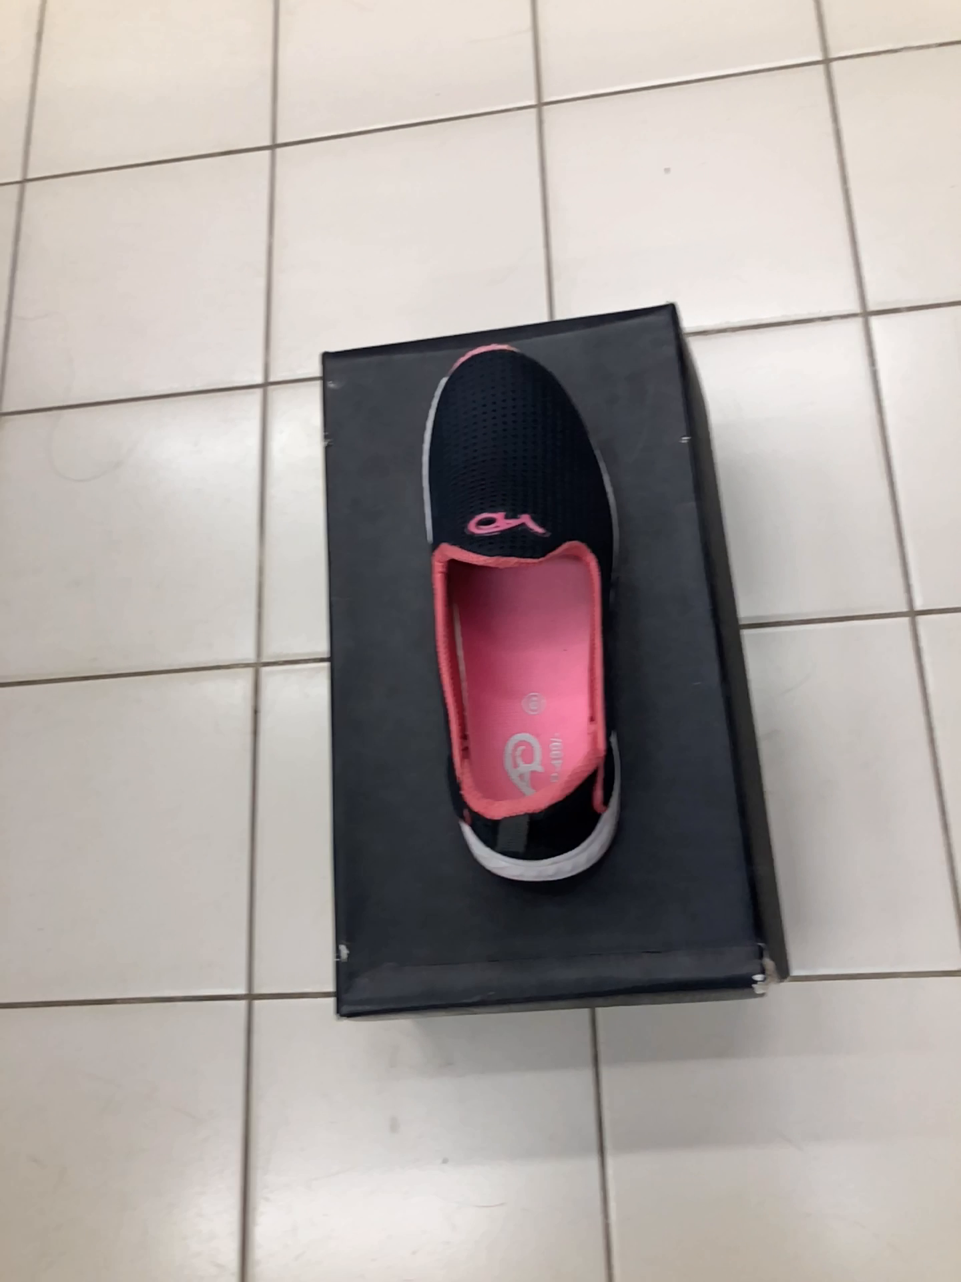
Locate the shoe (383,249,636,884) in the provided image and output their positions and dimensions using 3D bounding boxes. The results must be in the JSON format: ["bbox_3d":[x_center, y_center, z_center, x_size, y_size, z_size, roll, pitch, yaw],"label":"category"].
[{"bbox_3d":[0.014,-0.030,0.495,0.090,0.100,0.270,-5,73,8],"label":"shoe"}]
